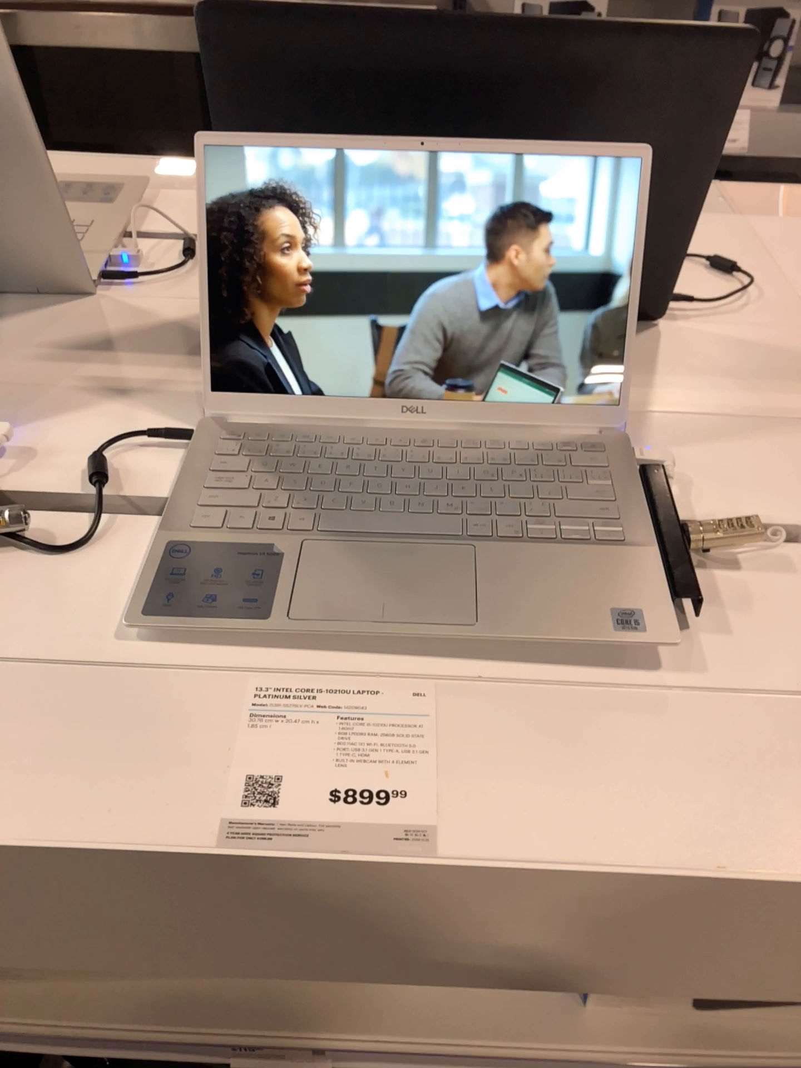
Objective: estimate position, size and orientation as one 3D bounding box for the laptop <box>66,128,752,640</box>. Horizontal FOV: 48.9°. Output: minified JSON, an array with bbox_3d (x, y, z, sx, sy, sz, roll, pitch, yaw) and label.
[{"bbox_3d":[0.006,-0.110,0.537,0.293,0.165,0.294,2,42,4],"label":"laptop"}]
